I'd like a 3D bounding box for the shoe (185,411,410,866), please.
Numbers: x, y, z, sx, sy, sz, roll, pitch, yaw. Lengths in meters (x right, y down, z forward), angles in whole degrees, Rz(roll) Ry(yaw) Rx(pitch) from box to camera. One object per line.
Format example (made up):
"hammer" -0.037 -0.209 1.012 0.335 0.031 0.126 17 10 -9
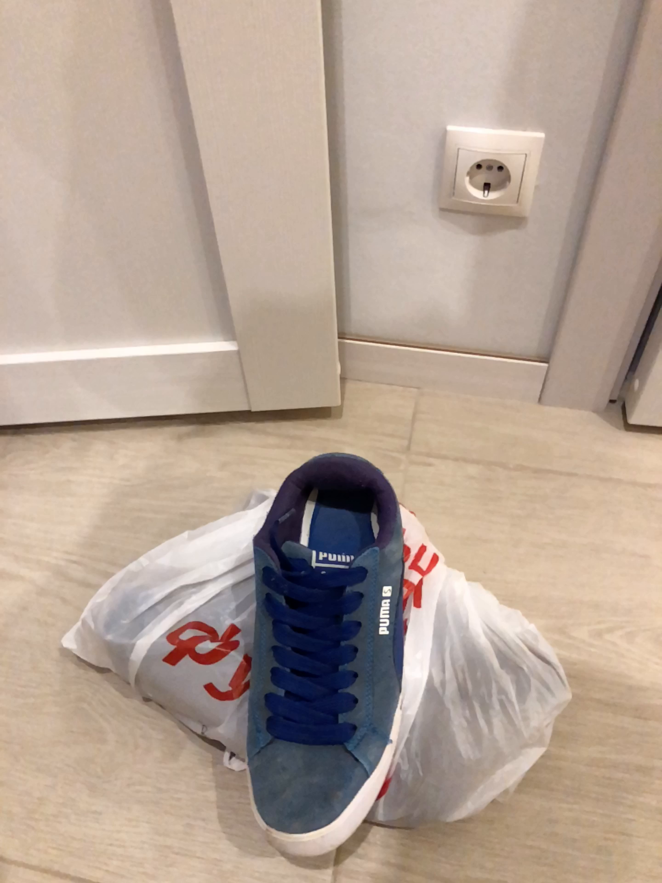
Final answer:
"shoe" -0.006 0.125 0.533 0.110 0.099 0.302 -2 50 11
